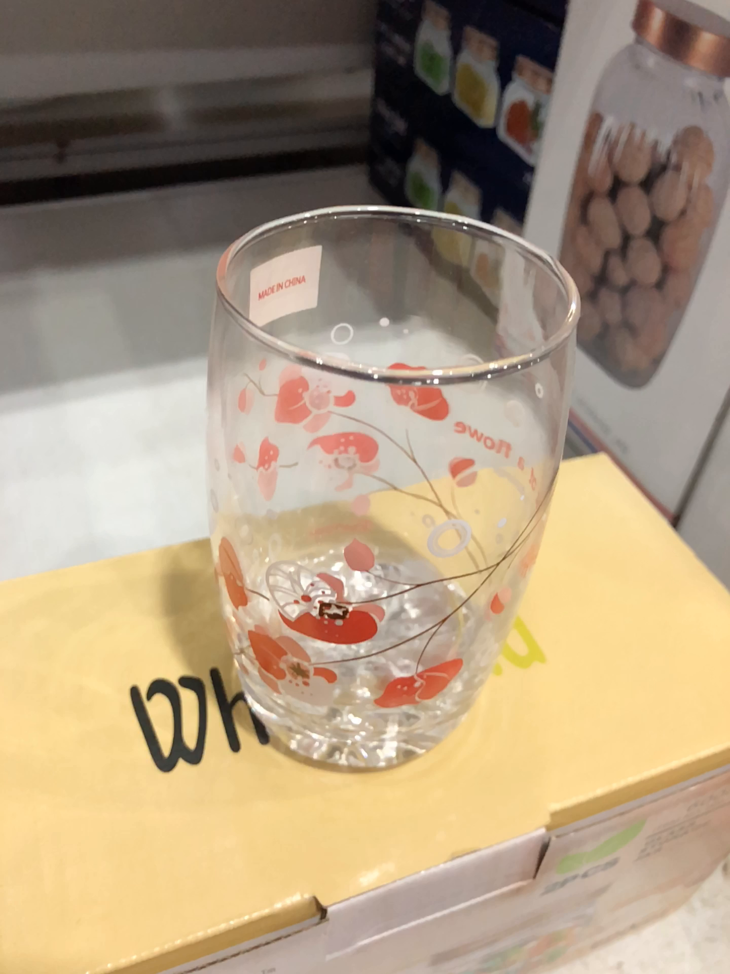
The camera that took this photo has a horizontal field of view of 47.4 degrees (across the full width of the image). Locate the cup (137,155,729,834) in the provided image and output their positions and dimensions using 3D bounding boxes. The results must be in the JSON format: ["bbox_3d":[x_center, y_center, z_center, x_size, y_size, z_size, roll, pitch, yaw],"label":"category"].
[{"bbox_3d":[0.001,0.002,0.172,0.080,0.110,0.080,3,43,-3],"label":"cup"}]
